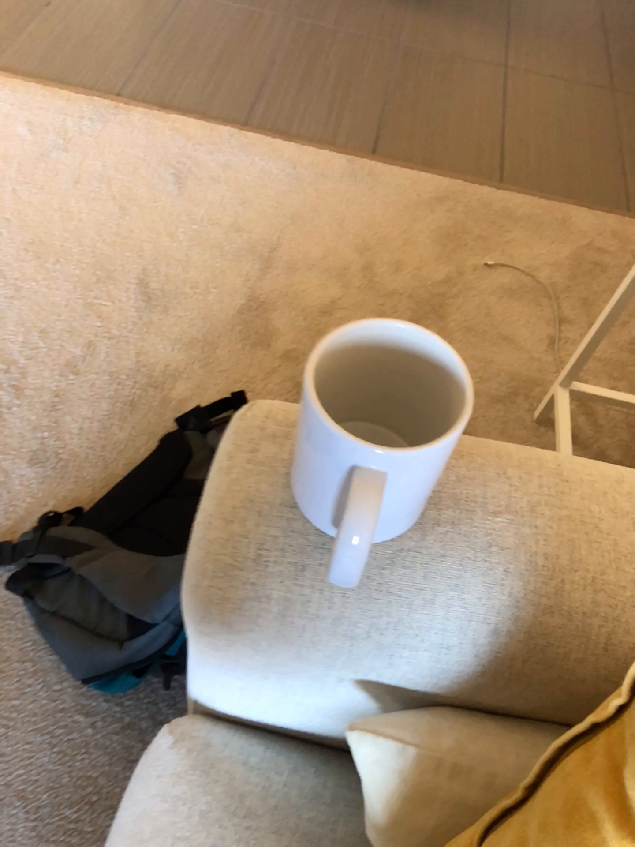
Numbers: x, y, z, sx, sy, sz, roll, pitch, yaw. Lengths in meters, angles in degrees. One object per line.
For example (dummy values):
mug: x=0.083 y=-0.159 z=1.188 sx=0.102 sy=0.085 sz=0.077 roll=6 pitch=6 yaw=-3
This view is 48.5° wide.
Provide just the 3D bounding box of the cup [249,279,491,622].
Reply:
cup: x=0.025 y=0.014 z=0.353 sx=0.080 sy=0.100 sz=0.120 roll=16 pitch=54 yaw=2
